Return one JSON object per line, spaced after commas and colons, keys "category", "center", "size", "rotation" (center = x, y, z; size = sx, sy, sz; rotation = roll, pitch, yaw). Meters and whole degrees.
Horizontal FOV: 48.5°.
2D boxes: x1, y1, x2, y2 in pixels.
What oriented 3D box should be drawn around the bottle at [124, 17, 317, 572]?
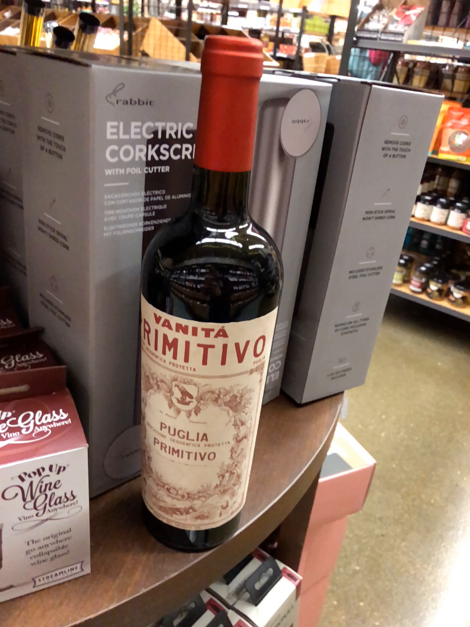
{"category": "bottle", "center": [-0.016, 0.008, 0.297], "size": [0.072, 0.299, 0.072], "rotation": [5, 27, -2]}
